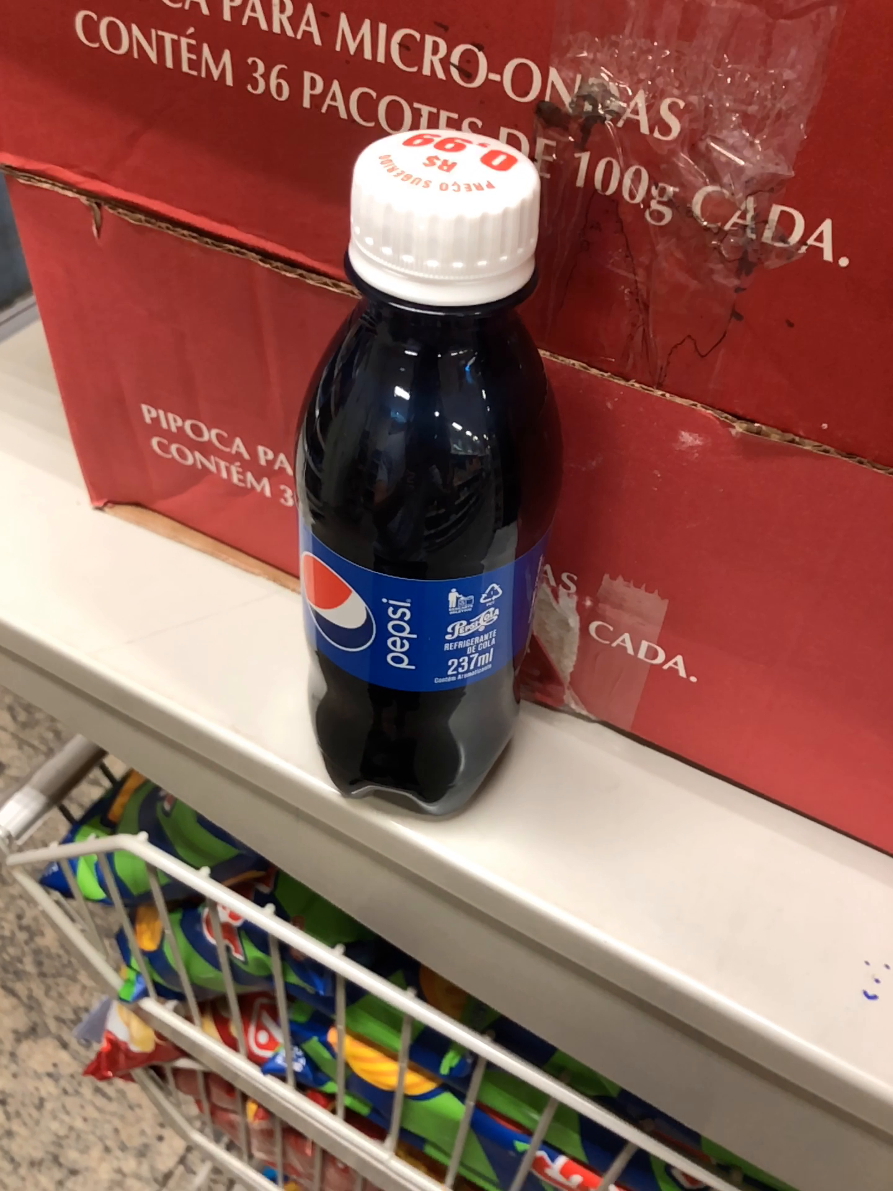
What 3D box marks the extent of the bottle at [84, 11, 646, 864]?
[{"bbox_3d":[-0.010,-0.021,0.200,0.060,0.149,0.060,1,46,-1],"label":"bottle"}]
